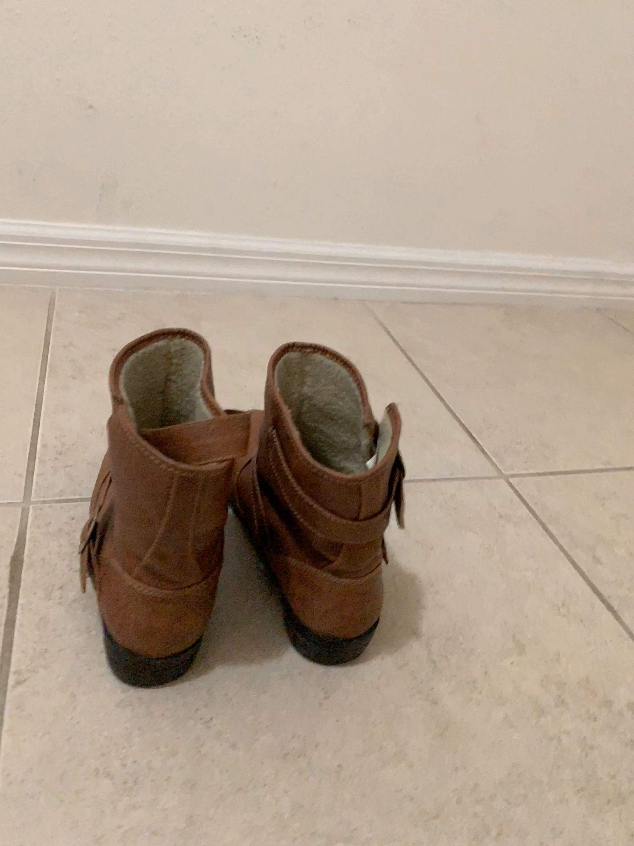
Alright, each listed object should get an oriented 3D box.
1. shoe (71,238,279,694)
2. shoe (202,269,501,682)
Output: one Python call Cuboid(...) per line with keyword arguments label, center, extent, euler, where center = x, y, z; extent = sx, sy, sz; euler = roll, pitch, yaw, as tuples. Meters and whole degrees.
Cuboid(label="shoe", center=(-0.110, 0.011, 0.449), extent=(0.094, 0.192, 0.248), euler=(0, 33, -18))
Cuboid(label="shoe", center=(-0.003, 0.017, 0.489), extent=(0.107, 0.172, 0.262), euler=(-3, 34, -21))
